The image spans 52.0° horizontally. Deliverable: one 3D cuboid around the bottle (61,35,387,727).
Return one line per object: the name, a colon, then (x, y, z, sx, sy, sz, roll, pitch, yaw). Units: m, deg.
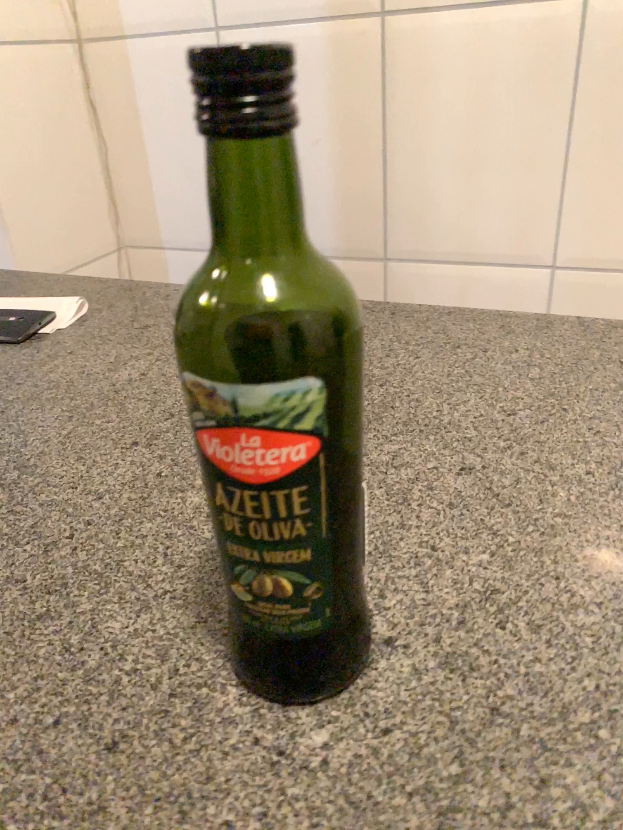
bottle: (-0.013, 0.003, 0.232, 0.070, 0.239, 0.060, 5, 31, 15)
